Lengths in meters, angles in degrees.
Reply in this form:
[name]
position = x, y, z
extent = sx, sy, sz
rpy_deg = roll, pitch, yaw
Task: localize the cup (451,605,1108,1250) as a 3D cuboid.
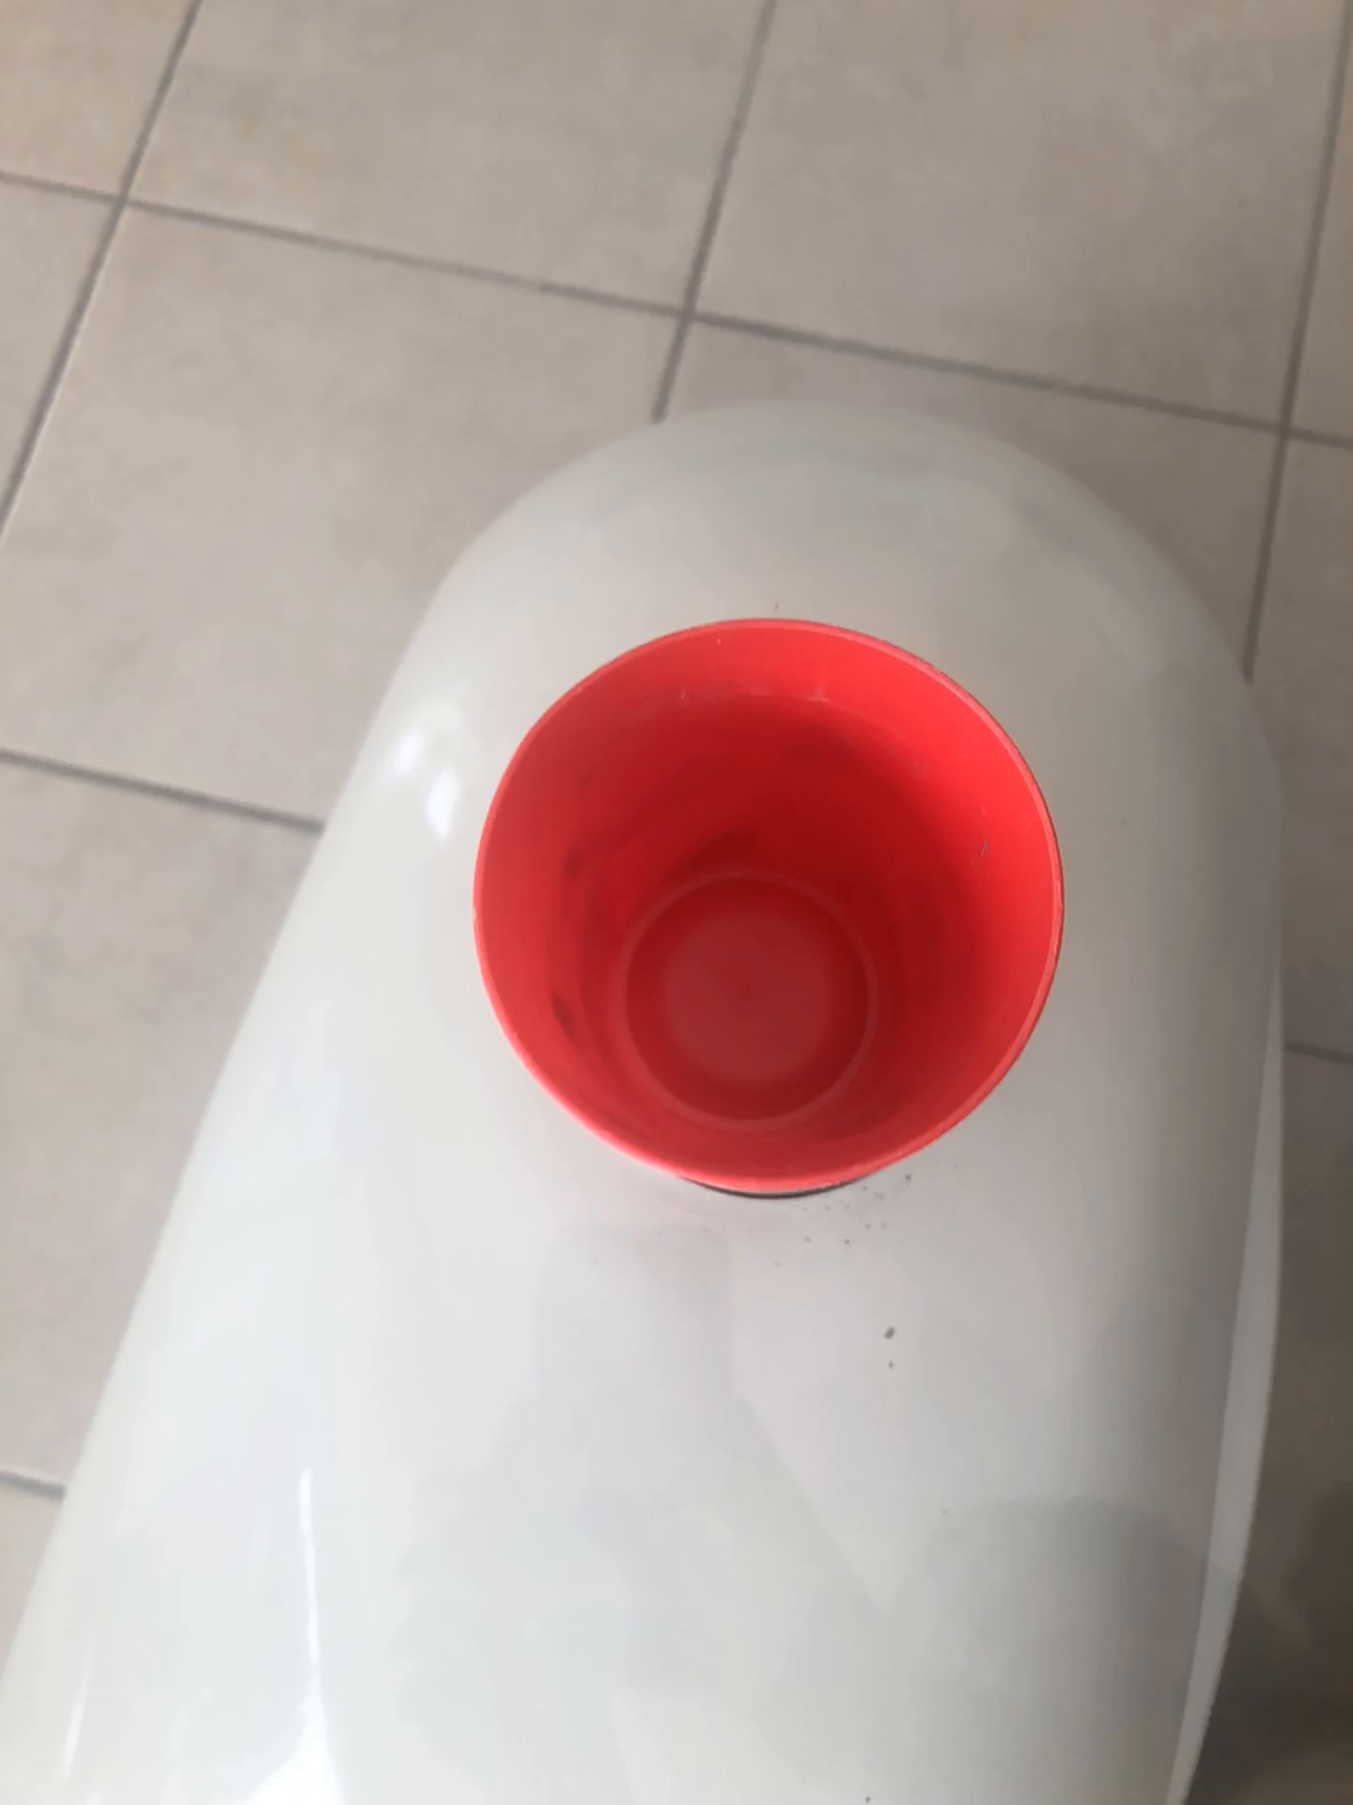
[cup]
position = 0.015, 0.011, 0.238
extent = 0.080, 0.090, 0.080
rpy_deg = 0, 76, 1
